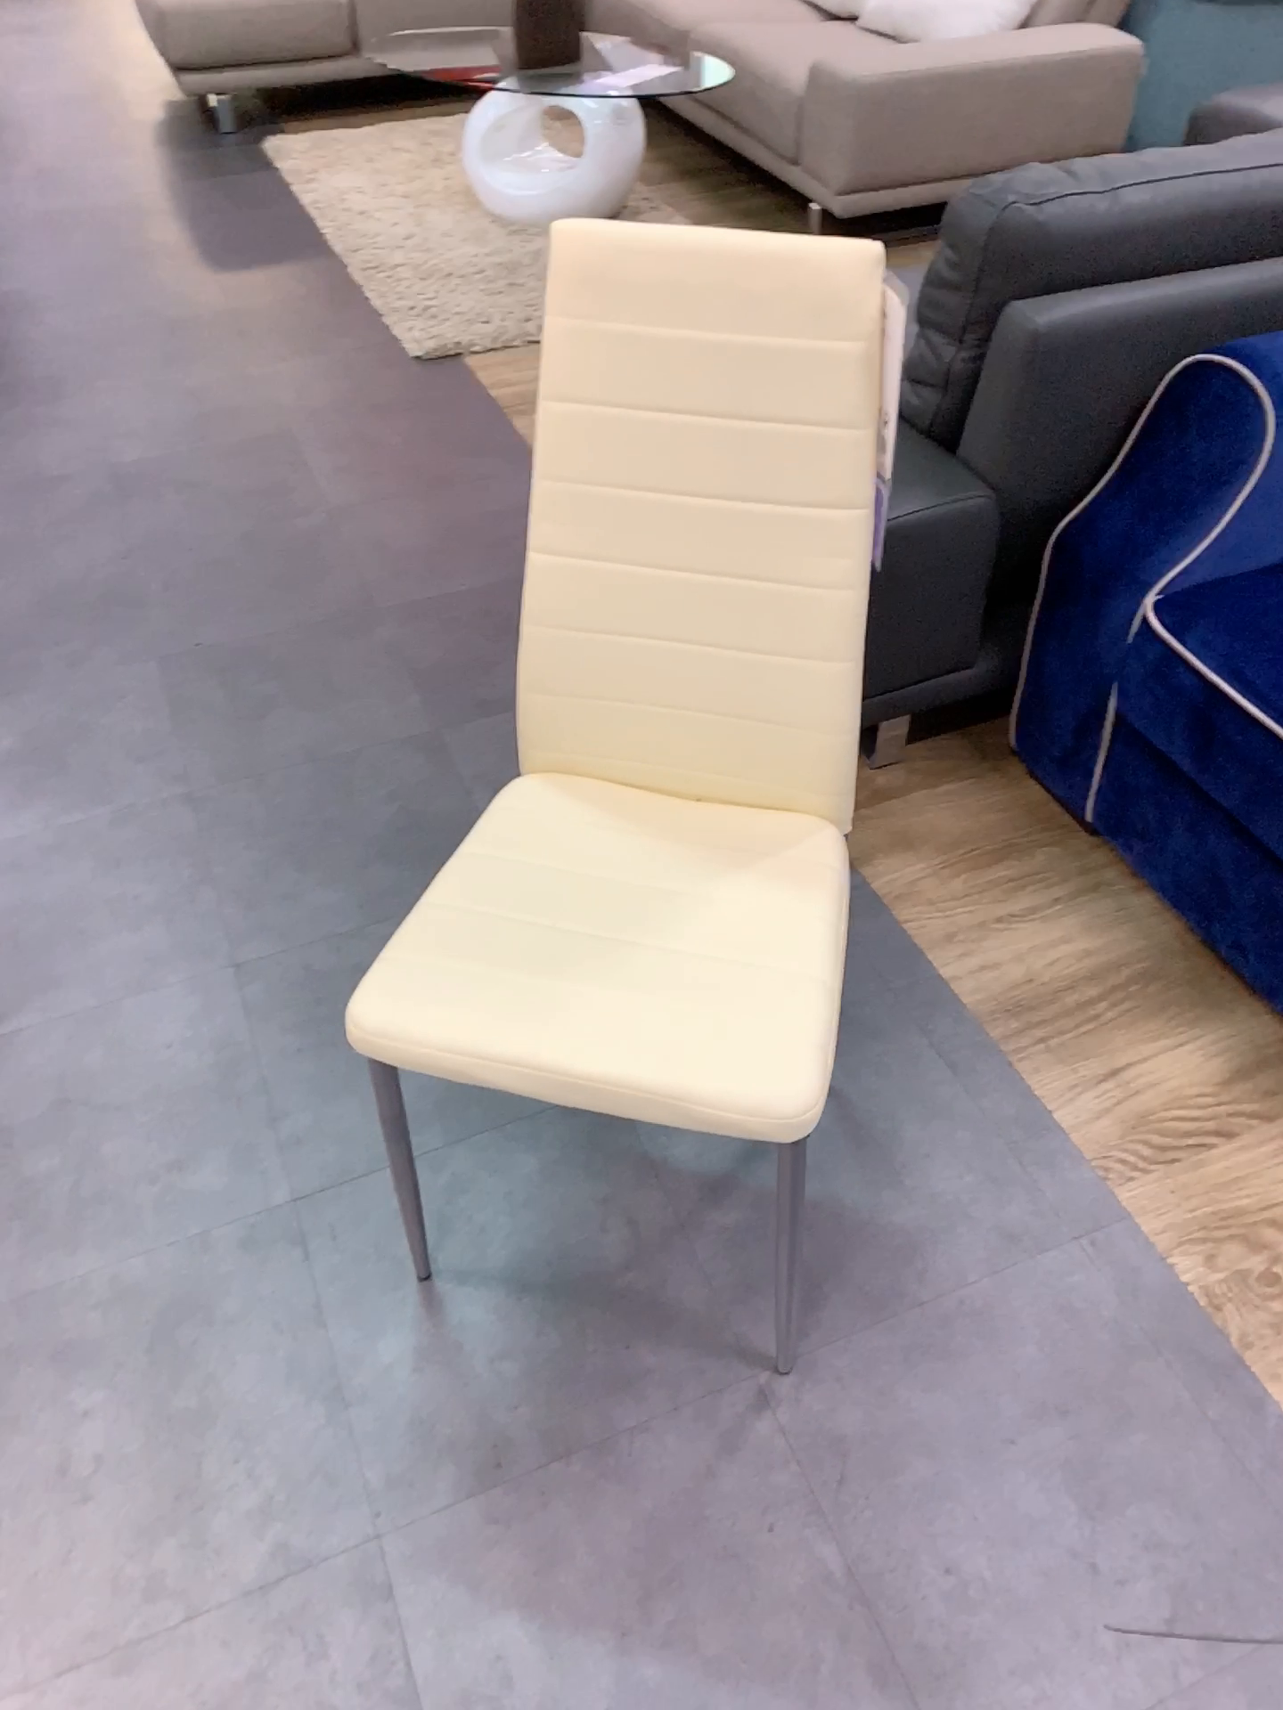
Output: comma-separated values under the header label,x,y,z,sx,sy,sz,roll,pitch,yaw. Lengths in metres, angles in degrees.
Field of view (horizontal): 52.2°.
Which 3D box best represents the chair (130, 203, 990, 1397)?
label,x,y,z,sx,sy,sz,roll,pitch,yaw
chair,-0.004,-0.004,1.197,0.445,0.940,0.480,10,44,13
